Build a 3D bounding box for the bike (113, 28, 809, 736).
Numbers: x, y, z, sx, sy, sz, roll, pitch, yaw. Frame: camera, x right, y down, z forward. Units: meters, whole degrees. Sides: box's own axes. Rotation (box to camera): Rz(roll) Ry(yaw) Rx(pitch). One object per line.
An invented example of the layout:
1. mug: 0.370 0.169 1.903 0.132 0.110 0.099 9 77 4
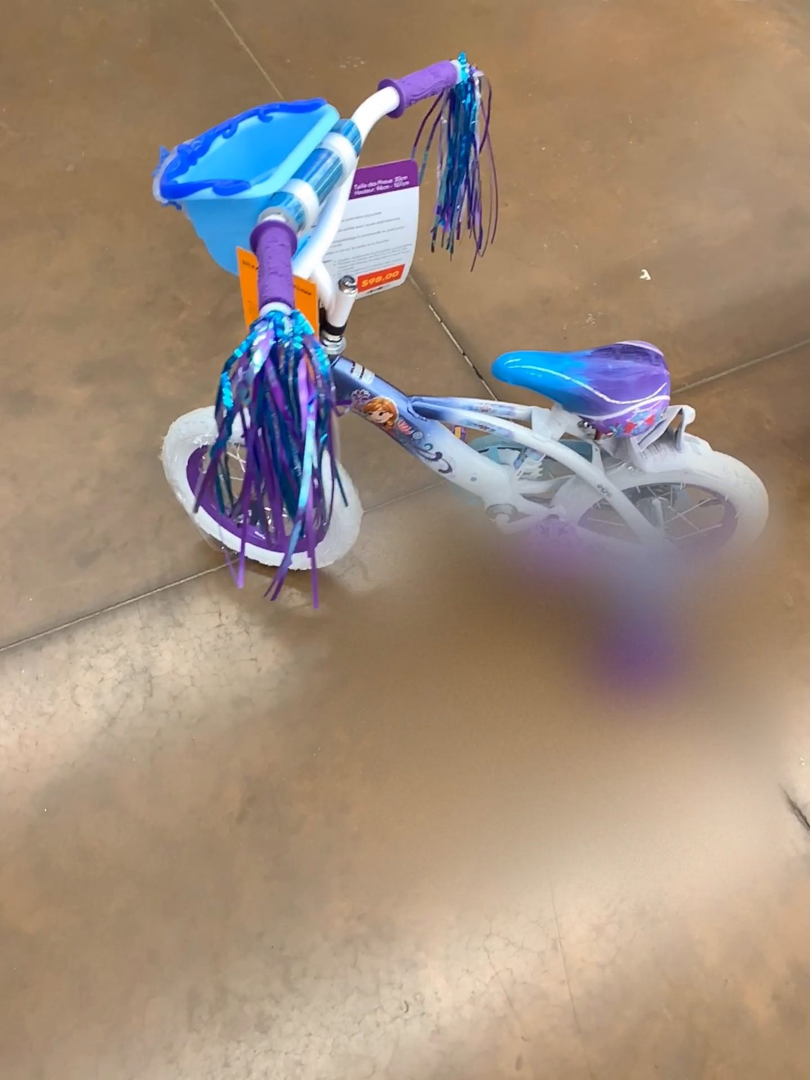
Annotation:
1. bike: 0.152 -0.122 0.950 0.651 0.644 0.474 1 57 -1
